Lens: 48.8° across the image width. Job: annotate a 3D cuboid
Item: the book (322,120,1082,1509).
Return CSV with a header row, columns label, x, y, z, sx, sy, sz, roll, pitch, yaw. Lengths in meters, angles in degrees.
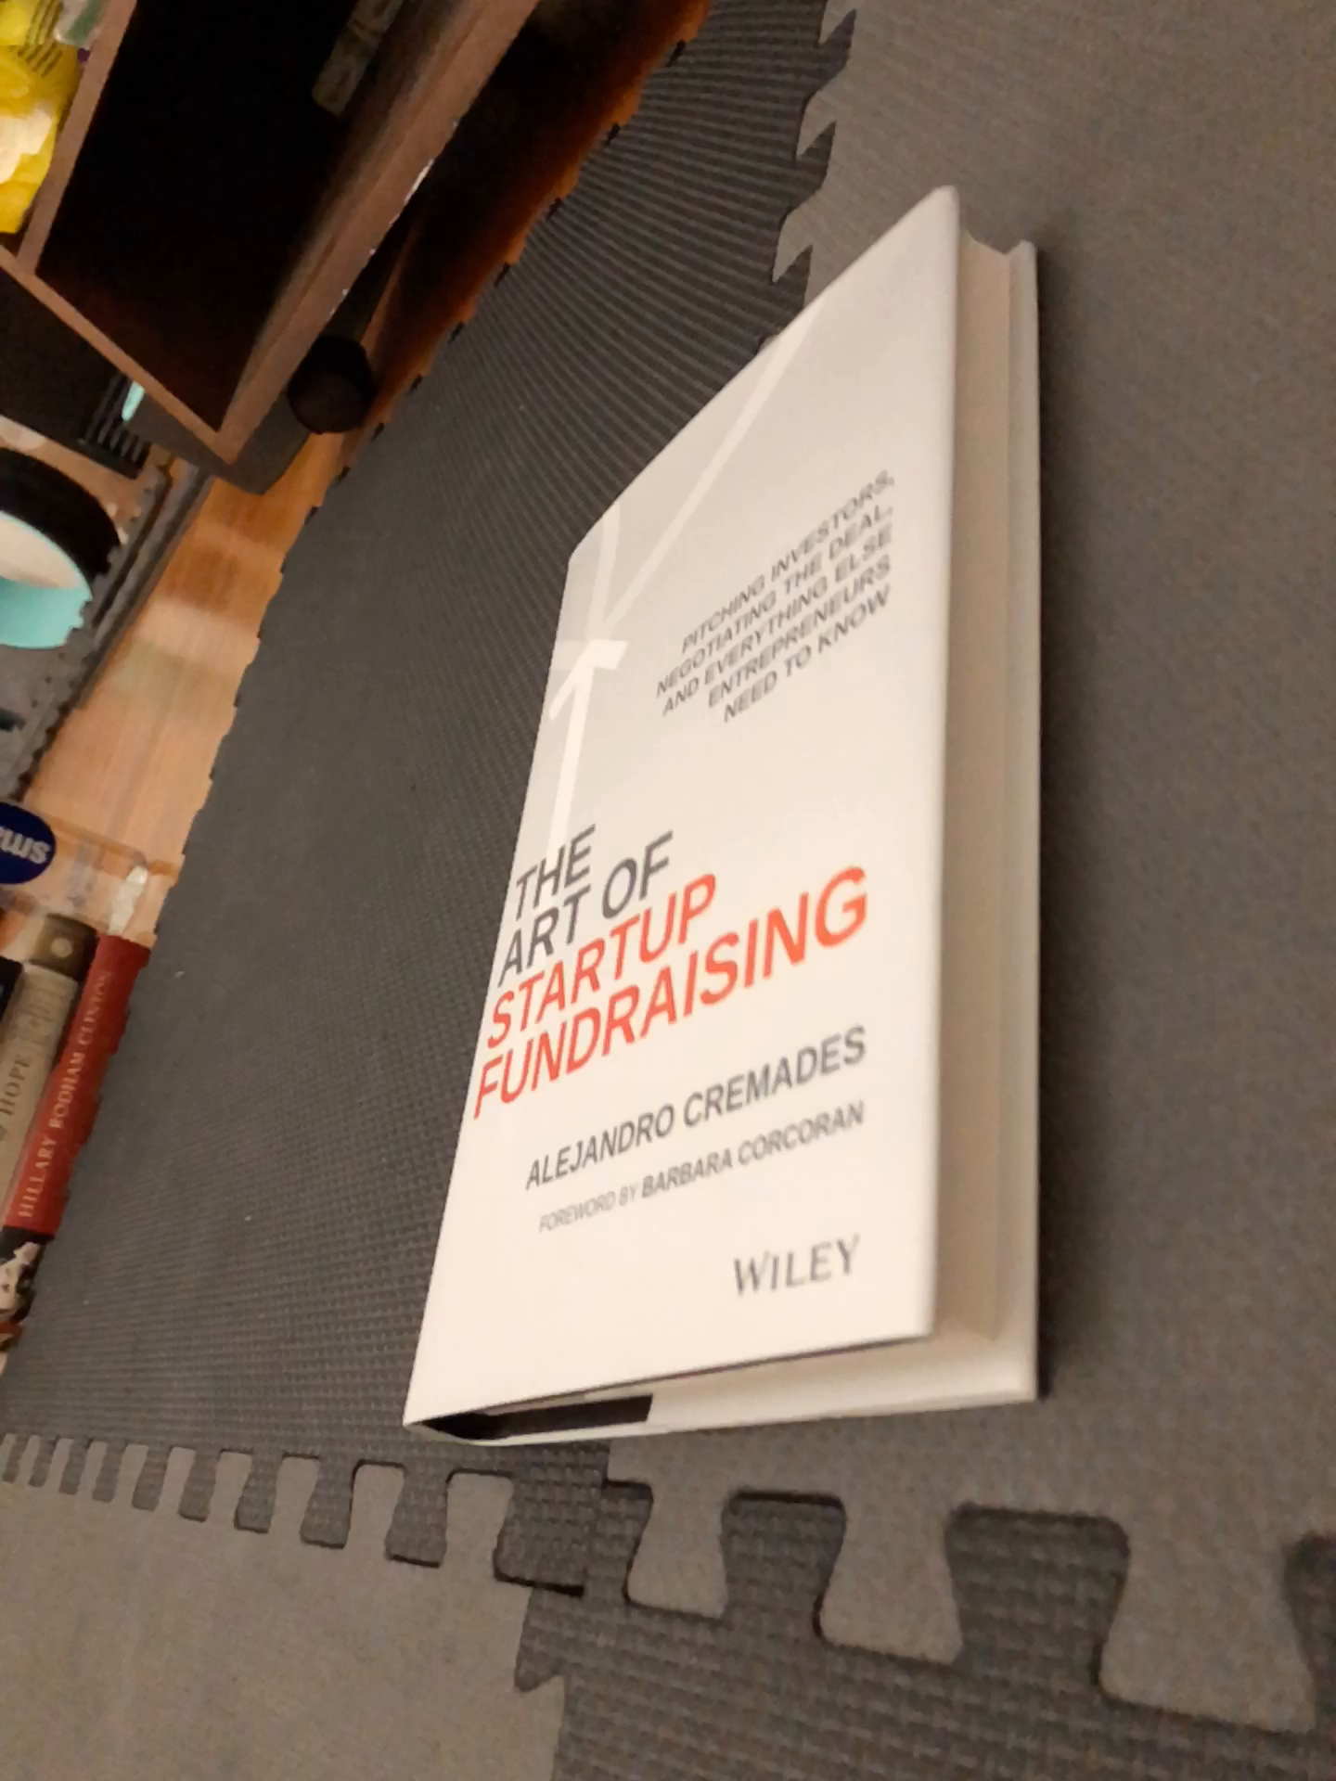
label,x,y,z,sx,sy,sz,roll,pitch,yaw
book,0.007,-0.010,0.302,0.170,0.030,0.251,-30,43,50
